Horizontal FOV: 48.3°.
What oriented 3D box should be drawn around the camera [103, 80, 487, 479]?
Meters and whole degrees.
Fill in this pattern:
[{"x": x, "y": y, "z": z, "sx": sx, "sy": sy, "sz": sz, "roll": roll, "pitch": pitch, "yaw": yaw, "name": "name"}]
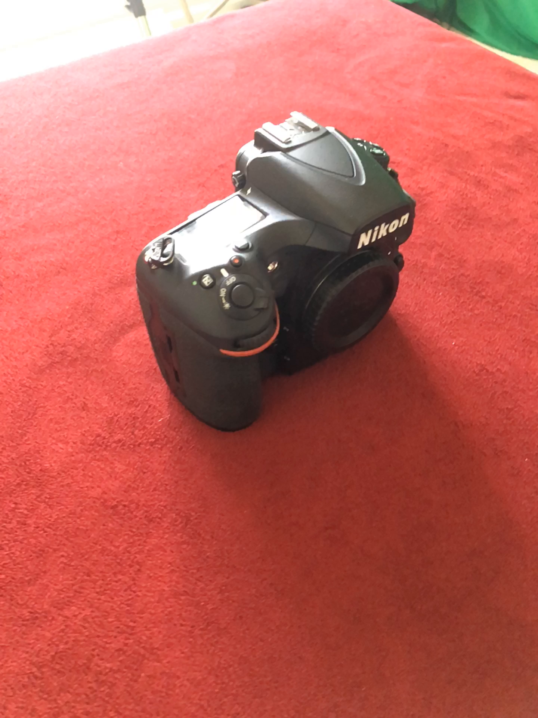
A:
[{"x": 0.015, "y": -0.040, "z": 0.306, "sx": 0.146, "sy": 0.129, "sz": 0.083, "roll": -33, "pitch": 58, "yaw": -23, "name": "camera"}]
